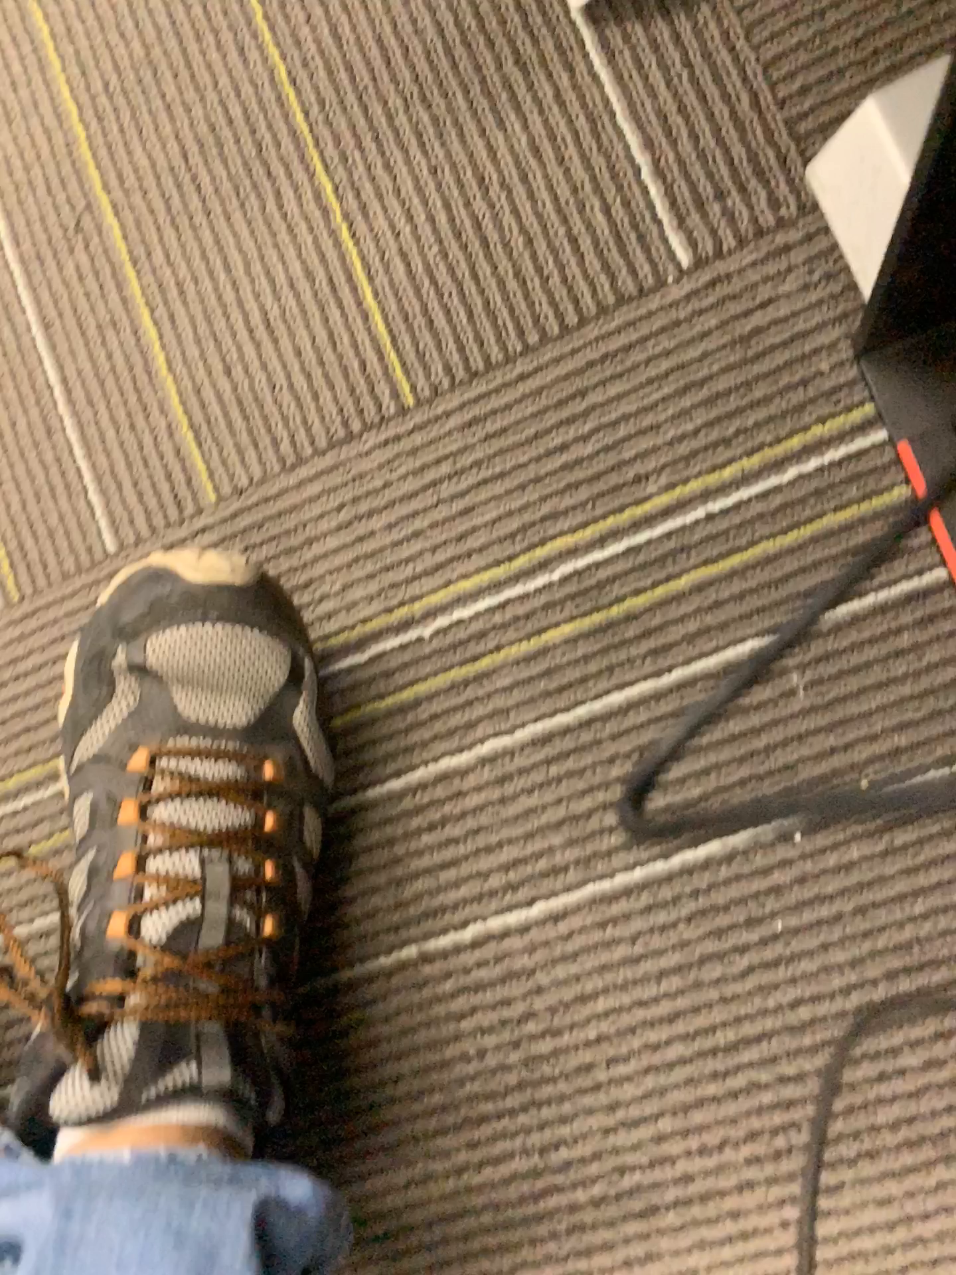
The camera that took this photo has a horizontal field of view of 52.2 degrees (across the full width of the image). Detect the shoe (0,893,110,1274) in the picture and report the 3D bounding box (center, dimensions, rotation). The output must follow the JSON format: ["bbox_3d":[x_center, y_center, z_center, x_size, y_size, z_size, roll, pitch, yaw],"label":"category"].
[{"bbox_3d":[-0.286,0.299,0.436,0.126,0.119,0.325,-19,90,-25],"label":"shoe"}]

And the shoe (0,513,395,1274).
[{"bbox_3d":[-0.132,0.121,0.398,0.120,0.119,0.325,14,100,50],"label":"shoe"}]
